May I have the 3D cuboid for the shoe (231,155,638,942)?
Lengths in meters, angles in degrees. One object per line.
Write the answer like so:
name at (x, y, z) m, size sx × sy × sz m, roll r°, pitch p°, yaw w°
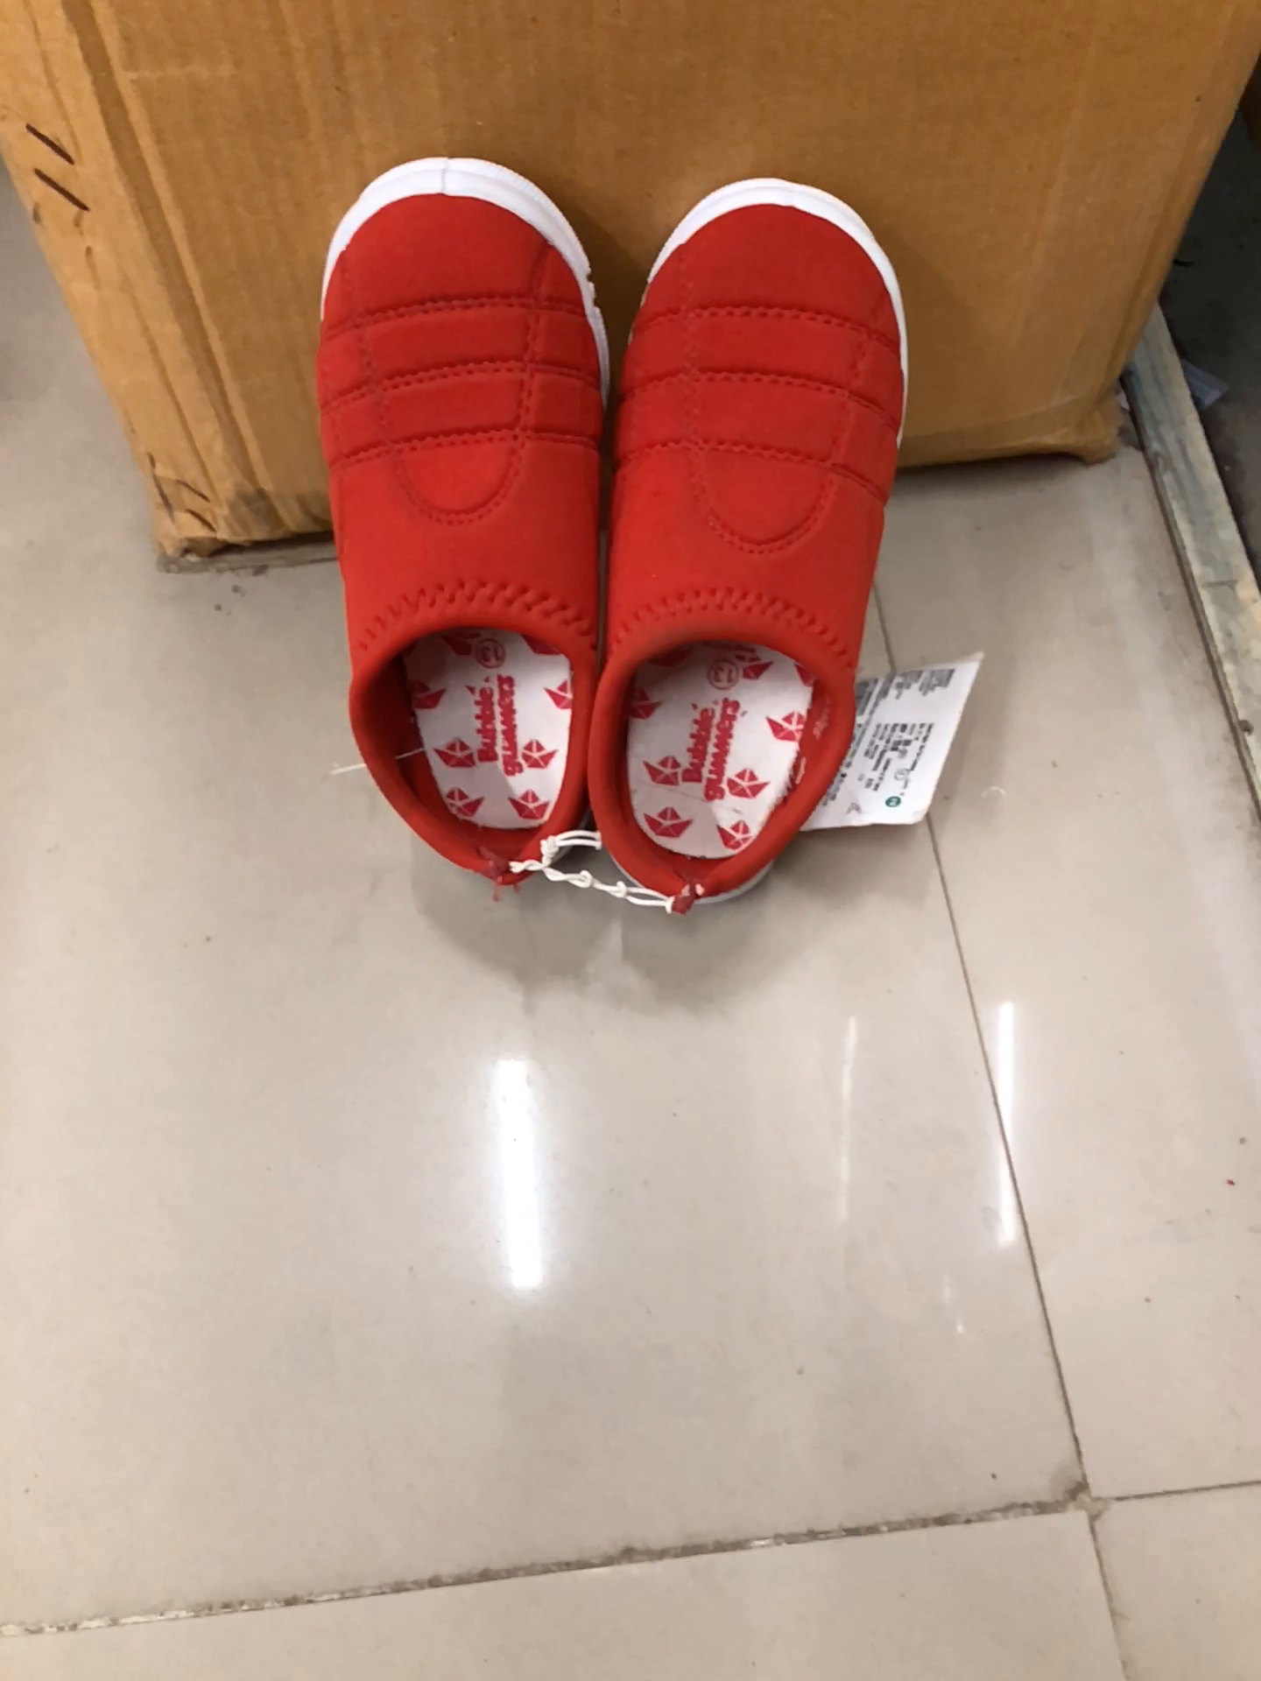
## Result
shoe at (-0.045, -0.082, 0.404) m, size 0.084 × 0.204 × 0.082 m, roll -3°, pitch 25°, yaw 1°

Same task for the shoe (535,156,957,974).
shoe at (0.032, -0.079, 0.410) m, size 0.084 × 0.207 × 0.081 m, roll 10°, pitch 23°, yaw 8°
